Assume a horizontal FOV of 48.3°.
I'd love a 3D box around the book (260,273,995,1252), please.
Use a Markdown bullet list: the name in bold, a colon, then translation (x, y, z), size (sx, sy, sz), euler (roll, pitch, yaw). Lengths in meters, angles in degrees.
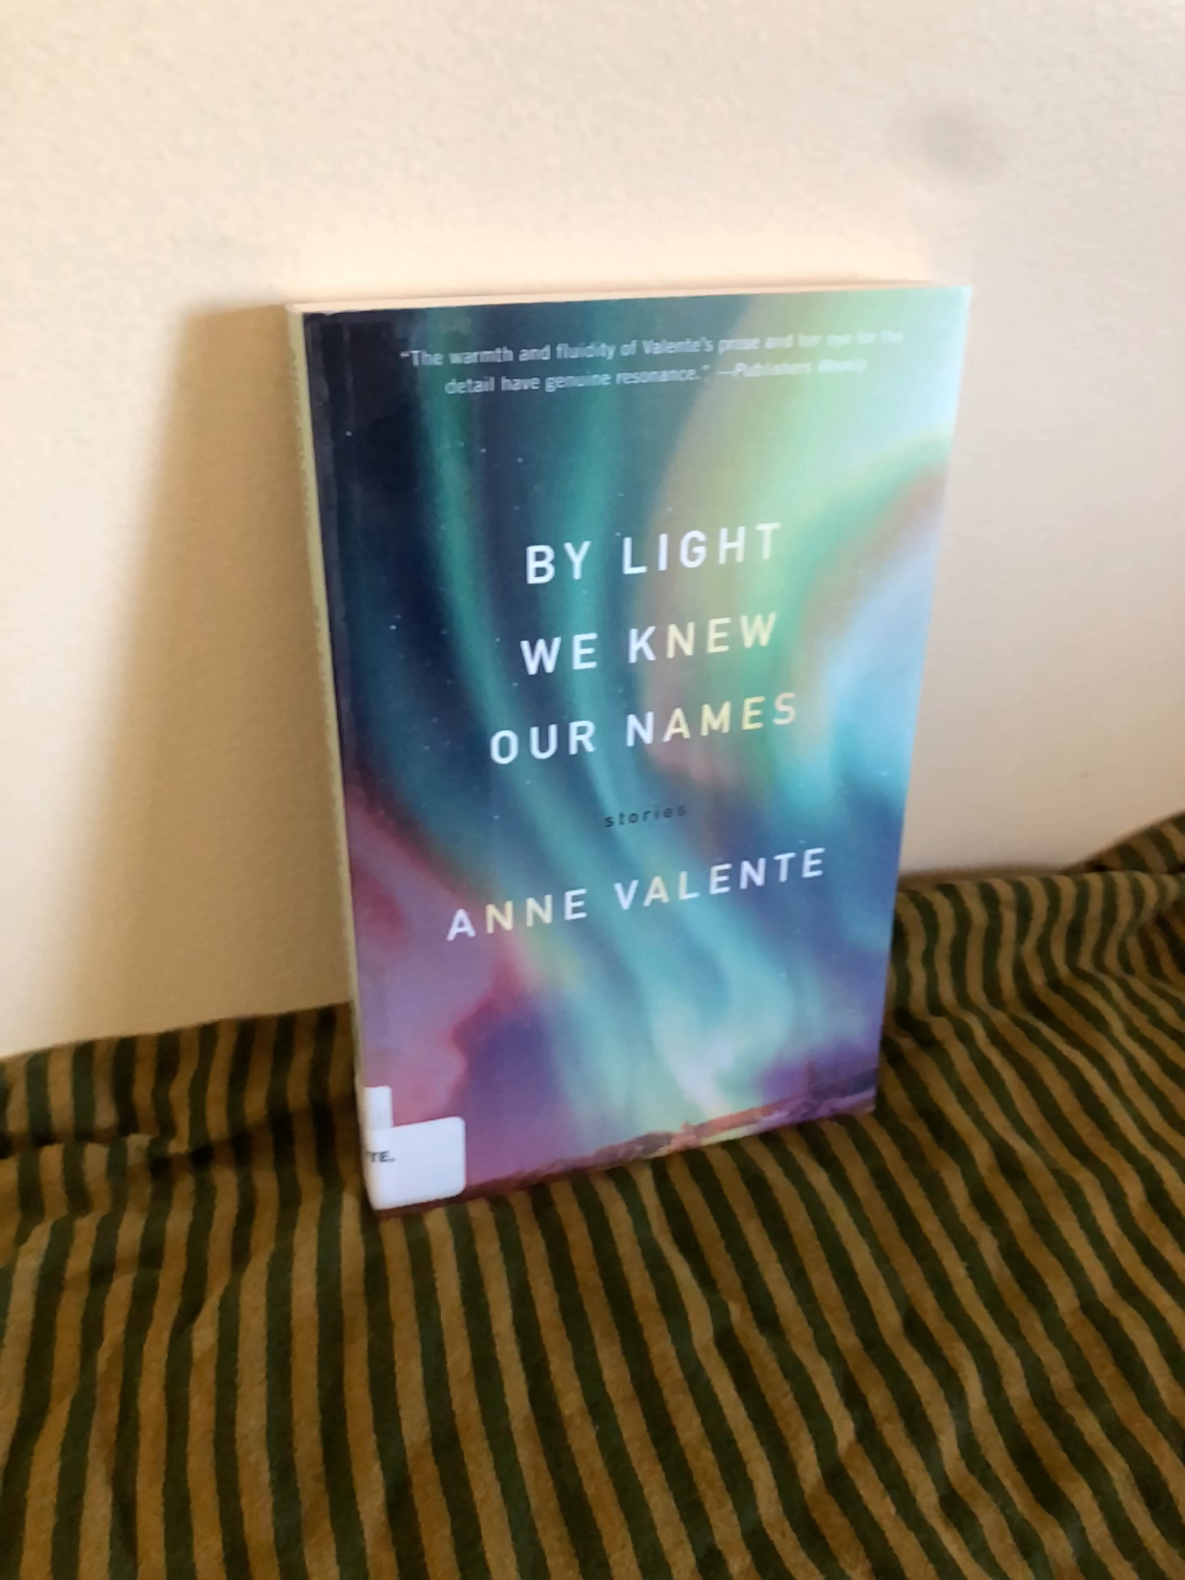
- **book**: translation (0.005, 0.002, 0.303), size (0.142, 0.223, 0.020), euler (-9, 32, -21)
